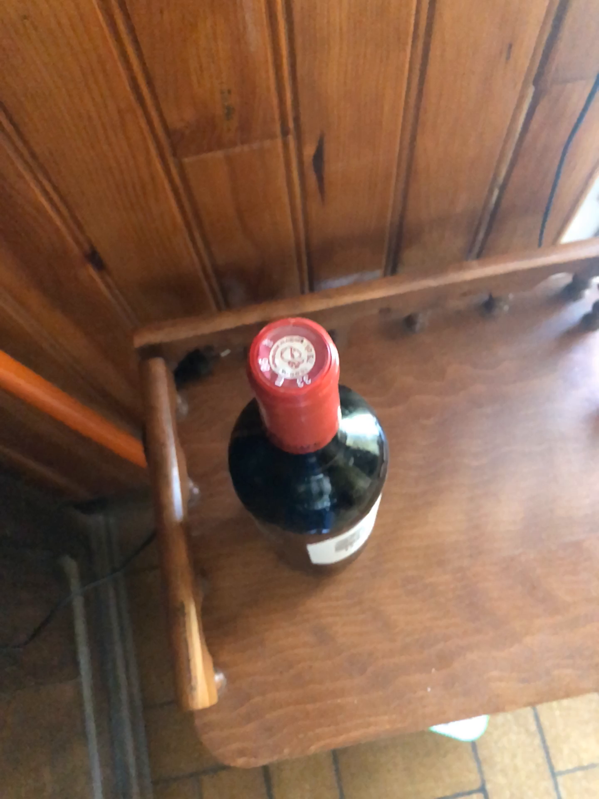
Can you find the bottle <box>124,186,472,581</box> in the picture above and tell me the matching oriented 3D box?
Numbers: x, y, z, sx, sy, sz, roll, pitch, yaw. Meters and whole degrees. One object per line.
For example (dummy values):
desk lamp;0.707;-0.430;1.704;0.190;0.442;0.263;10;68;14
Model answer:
bottle;0.008;0.029;0.354;0.080;0.309;0.080;-1;71;2
